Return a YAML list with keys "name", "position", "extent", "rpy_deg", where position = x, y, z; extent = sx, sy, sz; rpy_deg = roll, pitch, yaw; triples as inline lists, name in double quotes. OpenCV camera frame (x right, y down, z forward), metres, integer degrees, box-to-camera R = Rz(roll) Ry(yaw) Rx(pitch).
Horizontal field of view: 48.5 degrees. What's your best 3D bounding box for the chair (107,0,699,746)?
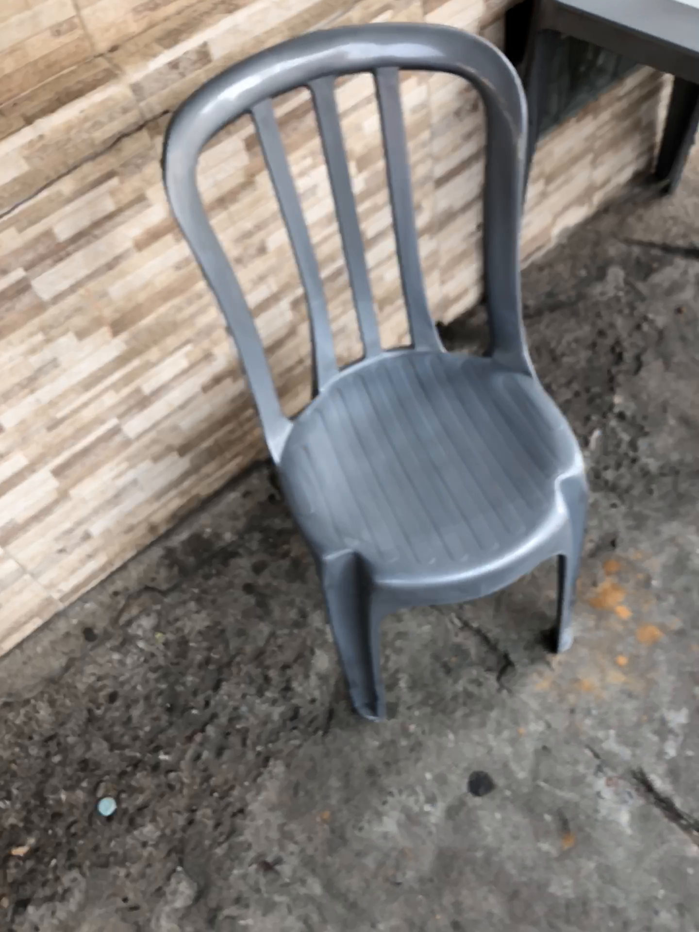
- name: "chair"
  position: [0.082, -0.057, 1.045]
  extent: [0.440, 0.835, 0.503]
  rpy_deg: [-20, 54, -4]
